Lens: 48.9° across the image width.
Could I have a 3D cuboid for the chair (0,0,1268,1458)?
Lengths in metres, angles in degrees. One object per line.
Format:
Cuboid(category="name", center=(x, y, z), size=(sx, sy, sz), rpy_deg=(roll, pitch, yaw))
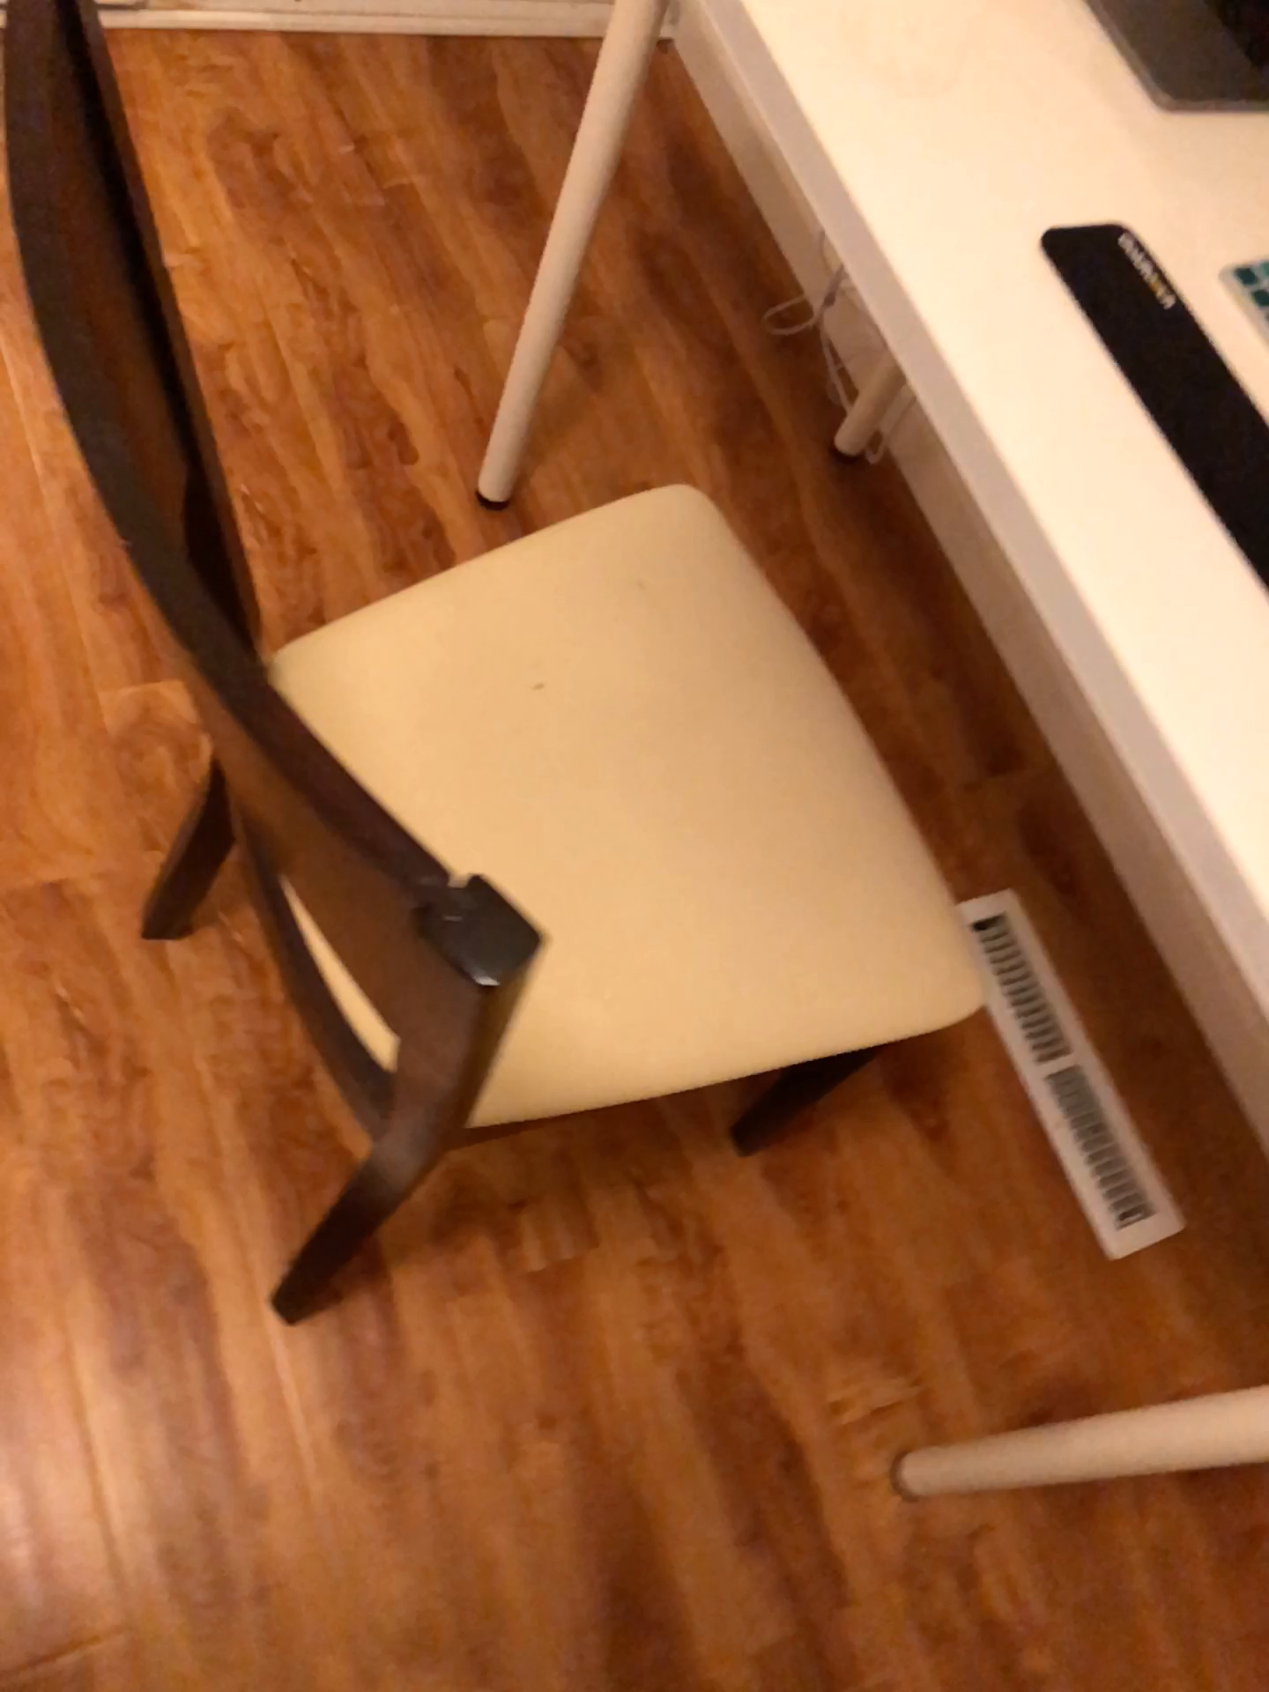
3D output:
Cuboid(category="chair", center=(-0.035, -0.027, 0.860), size=(0.511, 0.847, 0.531), rpy_deg=(-20, 71, -24))
